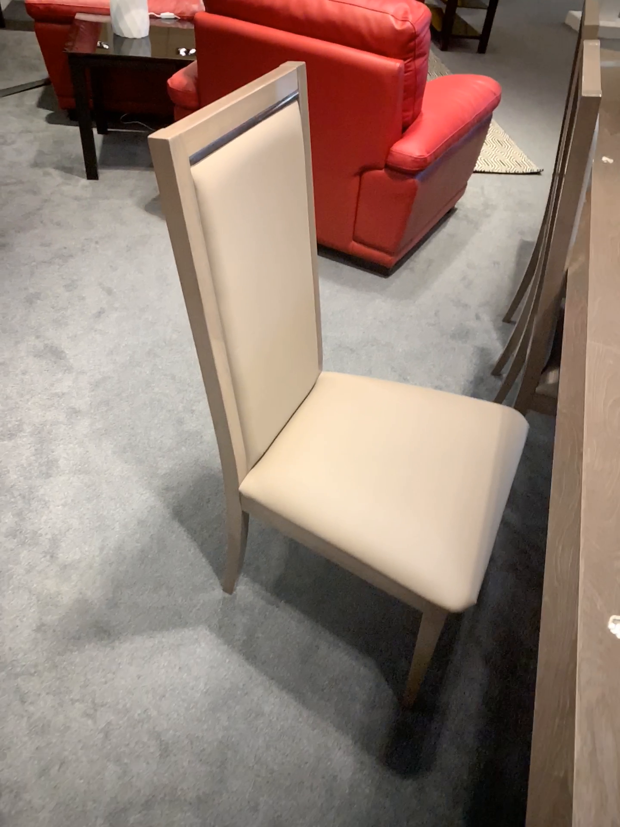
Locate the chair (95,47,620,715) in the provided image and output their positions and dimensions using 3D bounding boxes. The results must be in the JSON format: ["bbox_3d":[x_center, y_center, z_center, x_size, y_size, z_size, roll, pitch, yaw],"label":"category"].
[{"bbox_3d":[0.104,-0.023,1.144,0.582,0.977,0.502,19,45,18],"label":"chair"}]
